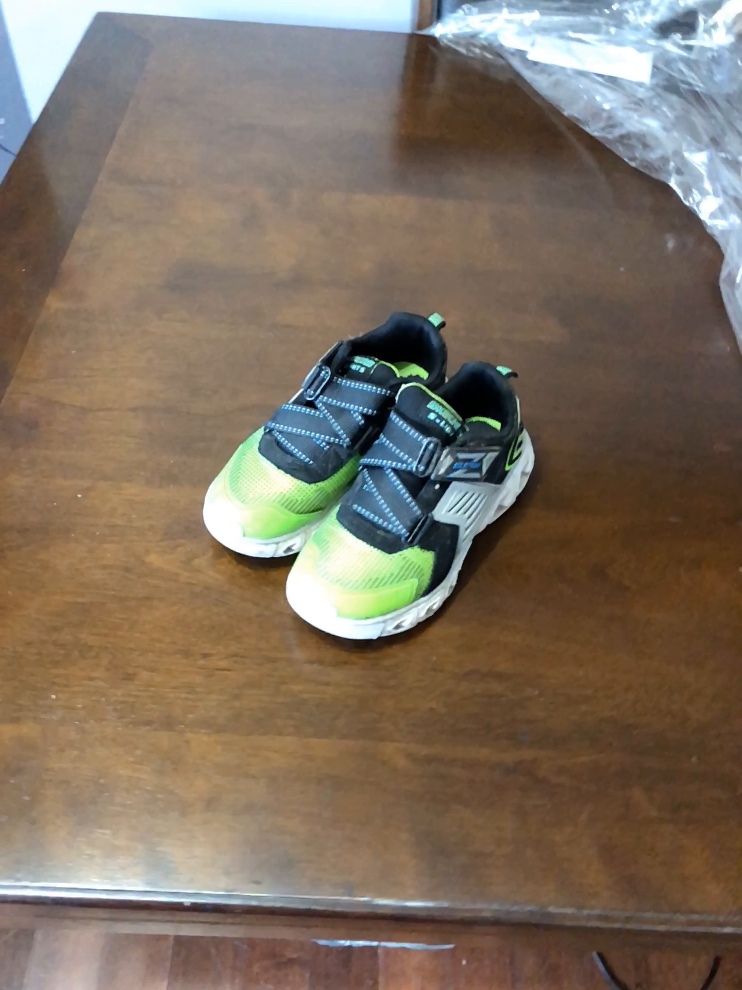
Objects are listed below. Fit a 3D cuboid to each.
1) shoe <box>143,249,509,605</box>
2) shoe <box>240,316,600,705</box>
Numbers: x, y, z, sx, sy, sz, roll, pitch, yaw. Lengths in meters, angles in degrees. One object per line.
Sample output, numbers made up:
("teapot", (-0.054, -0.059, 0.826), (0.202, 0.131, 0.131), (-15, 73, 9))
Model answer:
("shoe", (-0.023, -0.051, 0.531), (0.100, 0.100, 0.210), (37, 58, 22))
("shoe", (0.033, 0.002, 0.506), (0.100, 0.100, 0.210), (34, 57, 20))
